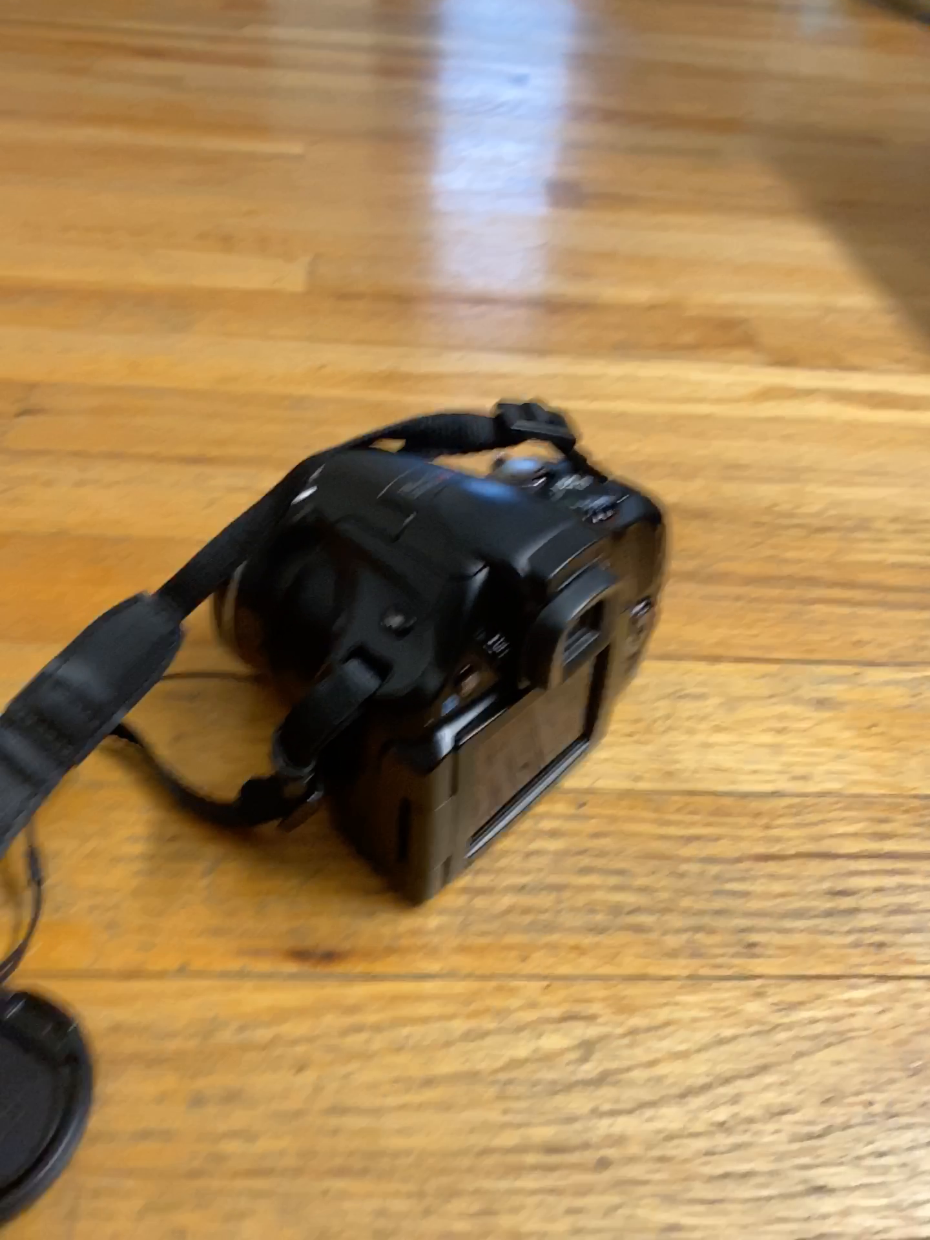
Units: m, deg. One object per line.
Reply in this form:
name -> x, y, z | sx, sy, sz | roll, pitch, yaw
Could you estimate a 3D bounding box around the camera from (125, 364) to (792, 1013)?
camera -> -0.003, 0.007, 0.272 | 0.120, 0.089, 0.120 | 33, 47, 28
